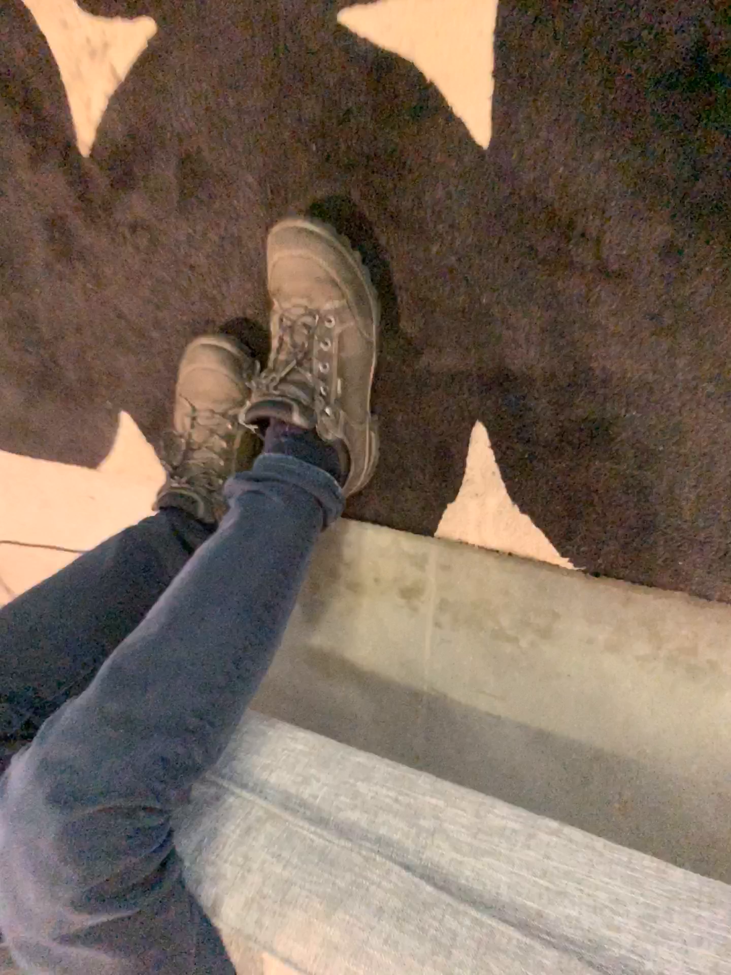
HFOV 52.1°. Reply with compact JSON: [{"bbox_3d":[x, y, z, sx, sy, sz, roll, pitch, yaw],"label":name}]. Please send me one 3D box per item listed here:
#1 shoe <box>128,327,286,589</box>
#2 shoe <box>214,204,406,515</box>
[{"bbox_3d":[-0.178,-0.034,0.873,0.120,0.077,0.285,9,117,25],"label":"shoe"},{"bbox_3d":[-0.049,-0.121,0.753,0.121,0.077,0.288,2,114,27],"label":"shoe"}]
